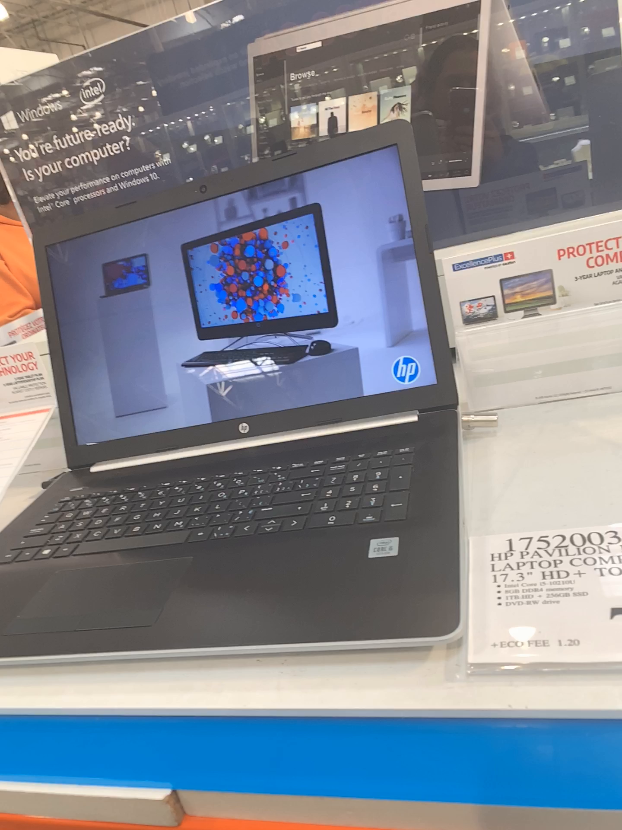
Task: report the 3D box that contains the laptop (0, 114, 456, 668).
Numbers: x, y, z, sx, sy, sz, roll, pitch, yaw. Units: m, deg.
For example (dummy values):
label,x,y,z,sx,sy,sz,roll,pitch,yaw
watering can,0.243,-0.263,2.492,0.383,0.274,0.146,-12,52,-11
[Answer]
label,x,y,z,sx,sy,sz,roll,pitch,yaw
laptop,-0.109,-0.044,0.489,0.395,0.234,0.371,-10,21,17
